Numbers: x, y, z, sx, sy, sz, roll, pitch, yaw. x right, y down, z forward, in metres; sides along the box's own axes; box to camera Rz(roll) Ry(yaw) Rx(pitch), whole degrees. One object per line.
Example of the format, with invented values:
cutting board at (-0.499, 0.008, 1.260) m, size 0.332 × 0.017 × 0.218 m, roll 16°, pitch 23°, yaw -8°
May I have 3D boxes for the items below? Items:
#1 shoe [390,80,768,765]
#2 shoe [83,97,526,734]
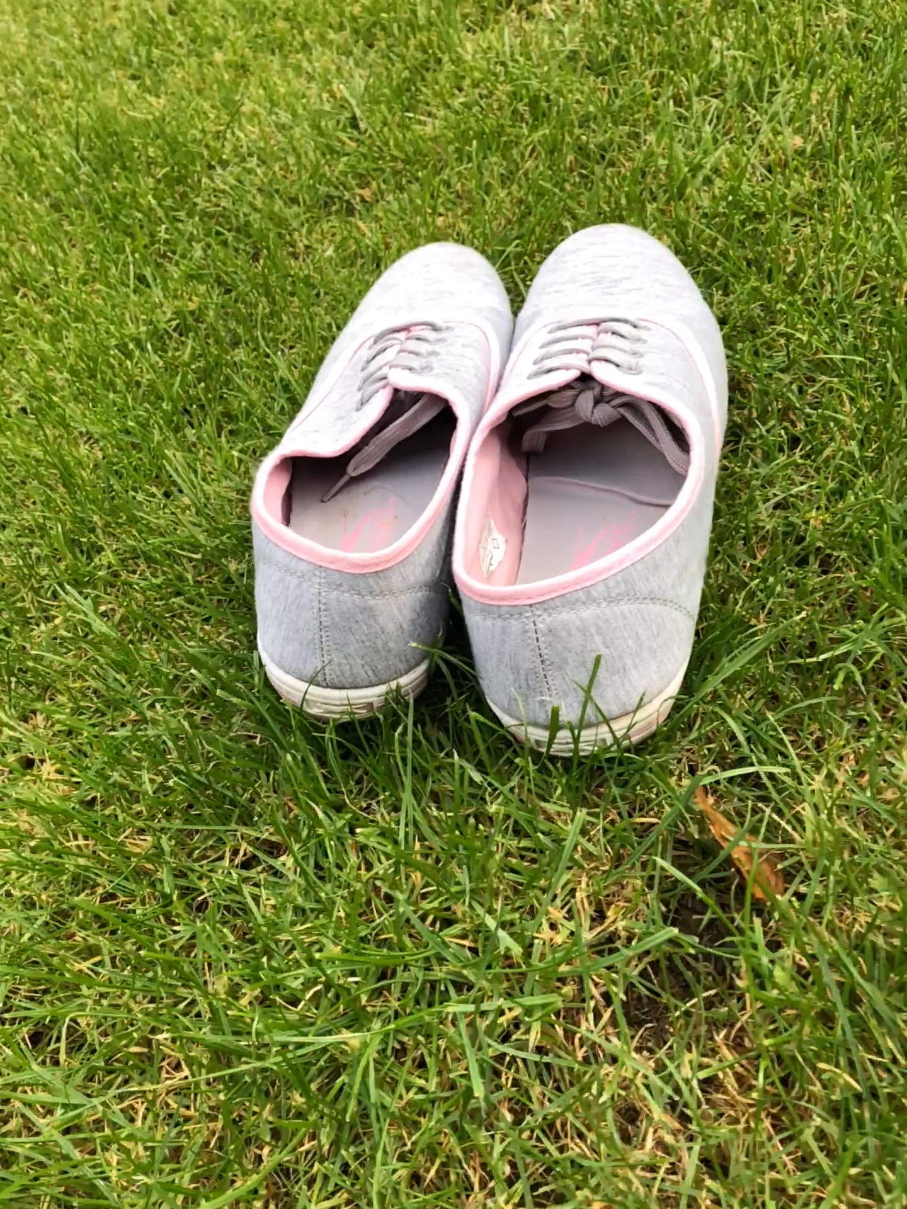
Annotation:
shoe at (0.057, -0.078, 0.377) m, size 0.100 × 0.089 × 0.262 m, roll -3°, pitch 53°, yaw 16°
shoe at (-0.038, -0.085, 0.405) m, size 0.100 × 0.089 × 0.262 m, roll -3°, pitch 53°, yaw 16°
